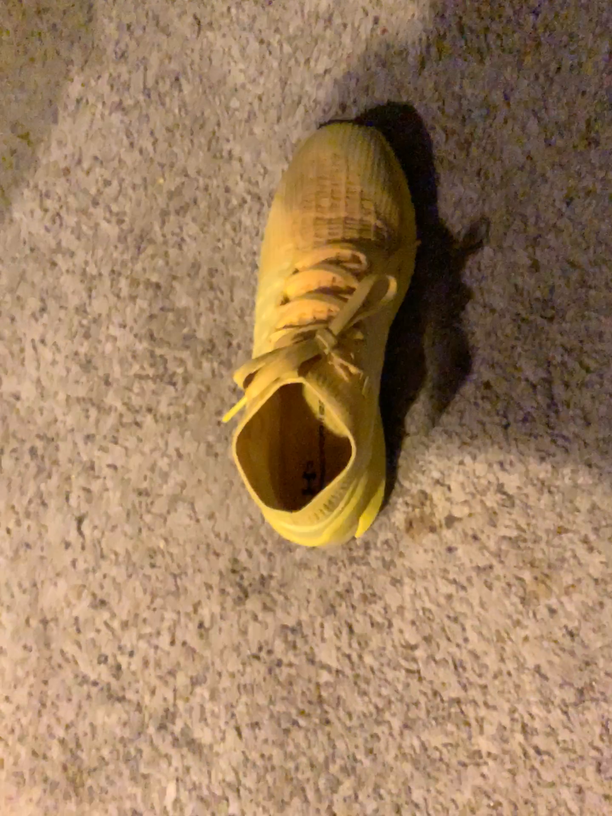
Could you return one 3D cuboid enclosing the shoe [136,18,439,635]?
[{"bbox_3d":[-0.003,-0.046,0.437,0.130,0.130,0.320,6,92,17],"label":"shoe"}]
